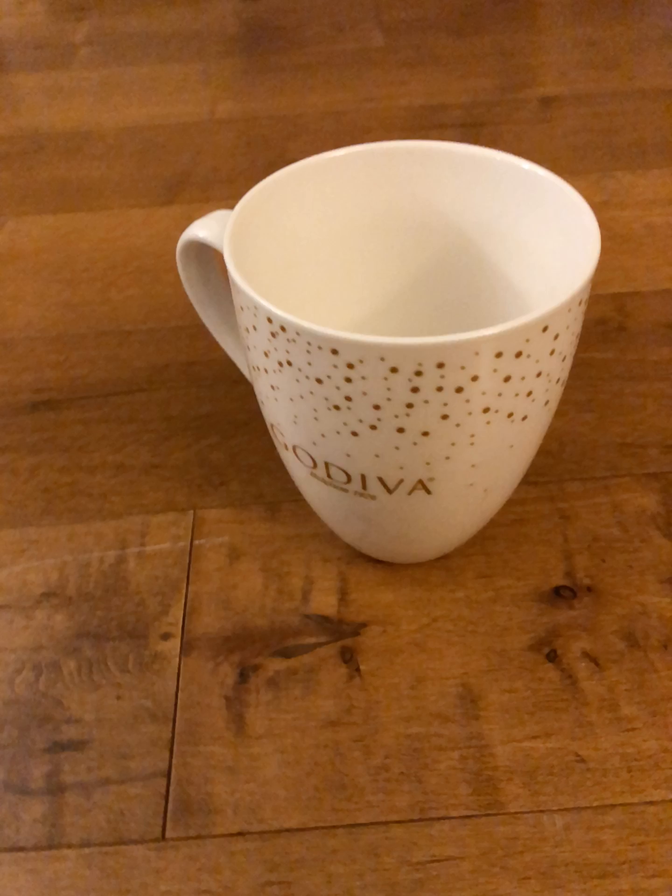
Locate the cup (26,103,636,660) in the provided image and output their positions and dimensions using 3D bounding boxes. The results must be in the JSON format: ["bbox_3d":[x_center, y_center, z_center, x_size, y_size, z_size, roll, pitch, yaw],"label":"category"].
[{"bbox_3d":[0.004,-0.030,0.256,0.140,0.109,0.110,21,52,23],"label":"cup"}]
